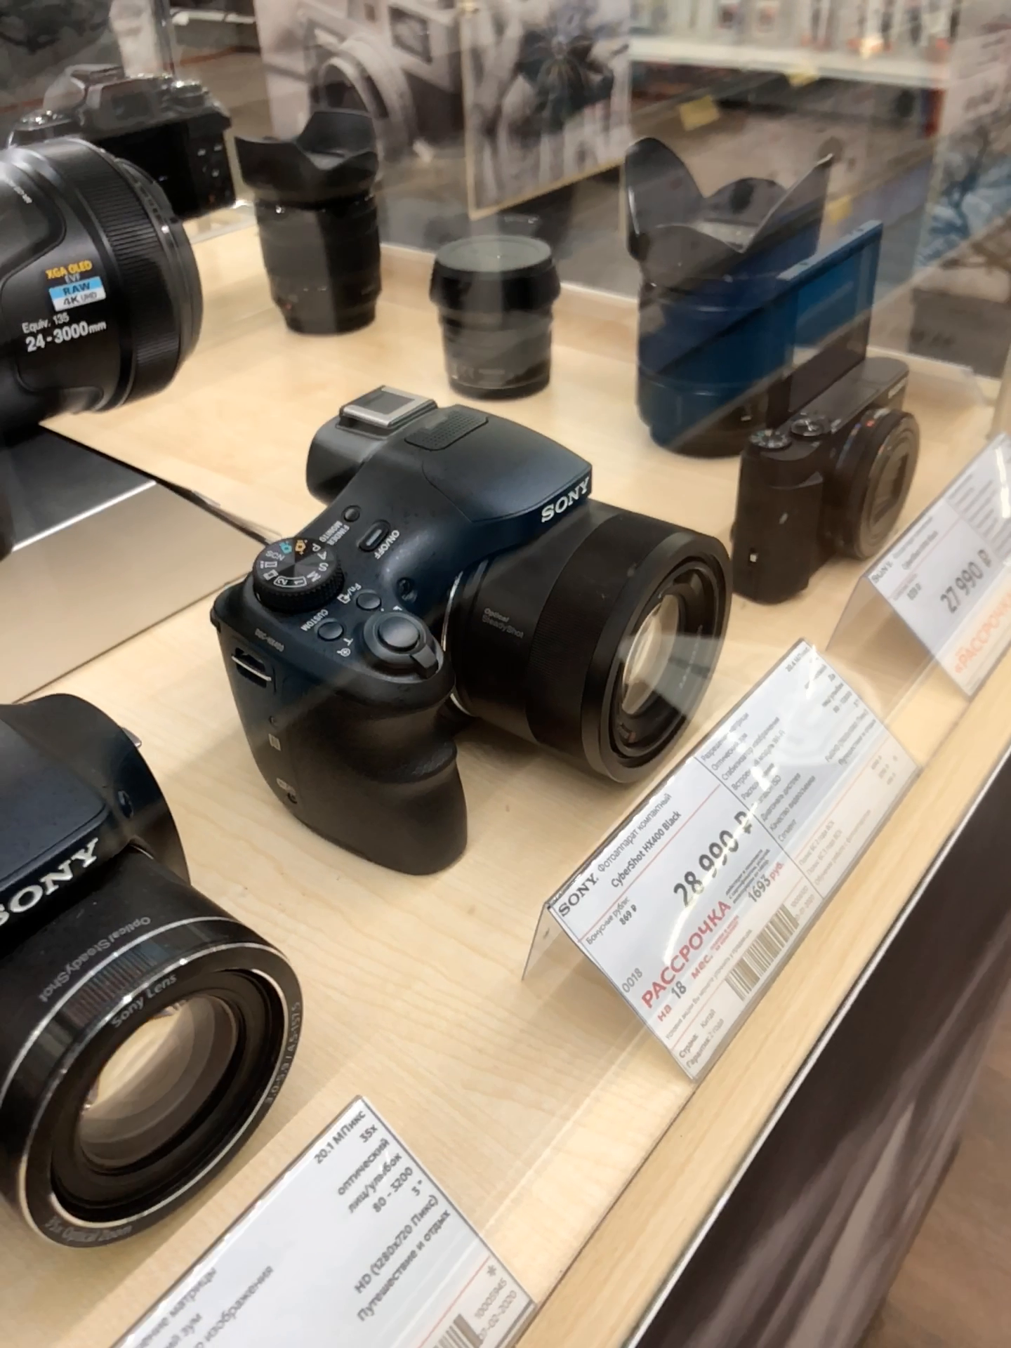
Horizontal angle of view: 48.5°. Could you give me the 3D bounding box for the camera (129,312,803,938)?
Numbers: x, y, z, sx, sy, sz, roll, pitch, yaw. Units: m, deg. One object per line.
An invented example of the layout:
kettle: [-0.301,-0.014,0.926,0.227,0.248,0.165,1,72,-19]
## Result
camera: [-0.003,-0.025,0.303,0.104,0.086,0.138,23,44,30]

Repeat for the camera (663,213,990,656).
camera: [0.117,-0.092,0.413,0.056,0.113,0.125,23,44,30]

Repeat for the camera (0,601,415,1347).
camera: [-0.097,0.059,0.215,0.096,0.073,0.122,23,44,30]
